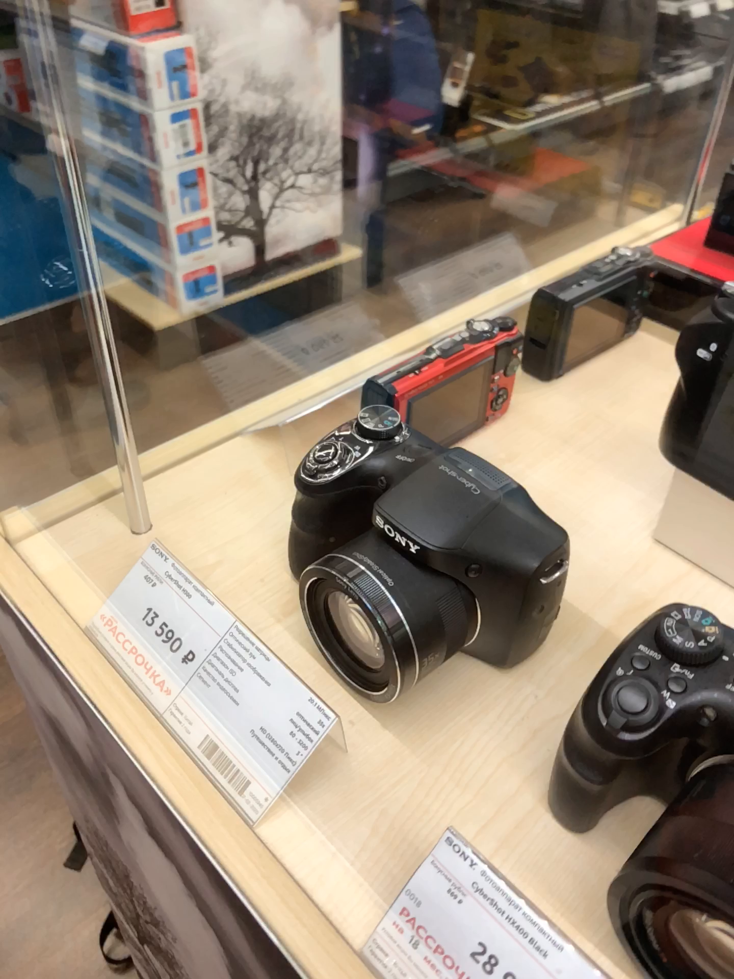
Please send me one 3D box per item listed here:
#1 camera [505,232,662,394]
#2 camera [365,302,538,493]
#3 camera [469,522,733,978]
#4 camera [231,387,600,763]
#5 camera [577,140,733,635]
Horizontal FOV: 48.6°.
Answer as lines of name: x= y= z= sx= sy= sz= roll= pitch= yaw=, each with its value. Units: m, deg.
camera: x=0.142 y=-0.117 z=0.531 sx=0.111 sy=0.069 sz=0.026 roll=-29 pitch=49 yaw=-31
camera: x=0.049 y=-0.055 z=0.468 sx=0.111 sy=0.069 sz=0.026 roll=-31 pitch=50 yaw=-33
camera: x=0.127 y=0.106 z=0.273 sx=0.125 sy=0.097 sz=0.124 roll=-29 pitch=49 yaw=-31
camera: x=0.017 y=0.030 z=0.359 sx=0.092 sy=0.078 sz=0.124 roll=-29 pitch=49 yaw=-31
camera: x=0.206 y=-0.057 z=0.339 sx=0.132 sy=0.106 sz=0.168 roll=-30 pitch=49 yaw=-32
